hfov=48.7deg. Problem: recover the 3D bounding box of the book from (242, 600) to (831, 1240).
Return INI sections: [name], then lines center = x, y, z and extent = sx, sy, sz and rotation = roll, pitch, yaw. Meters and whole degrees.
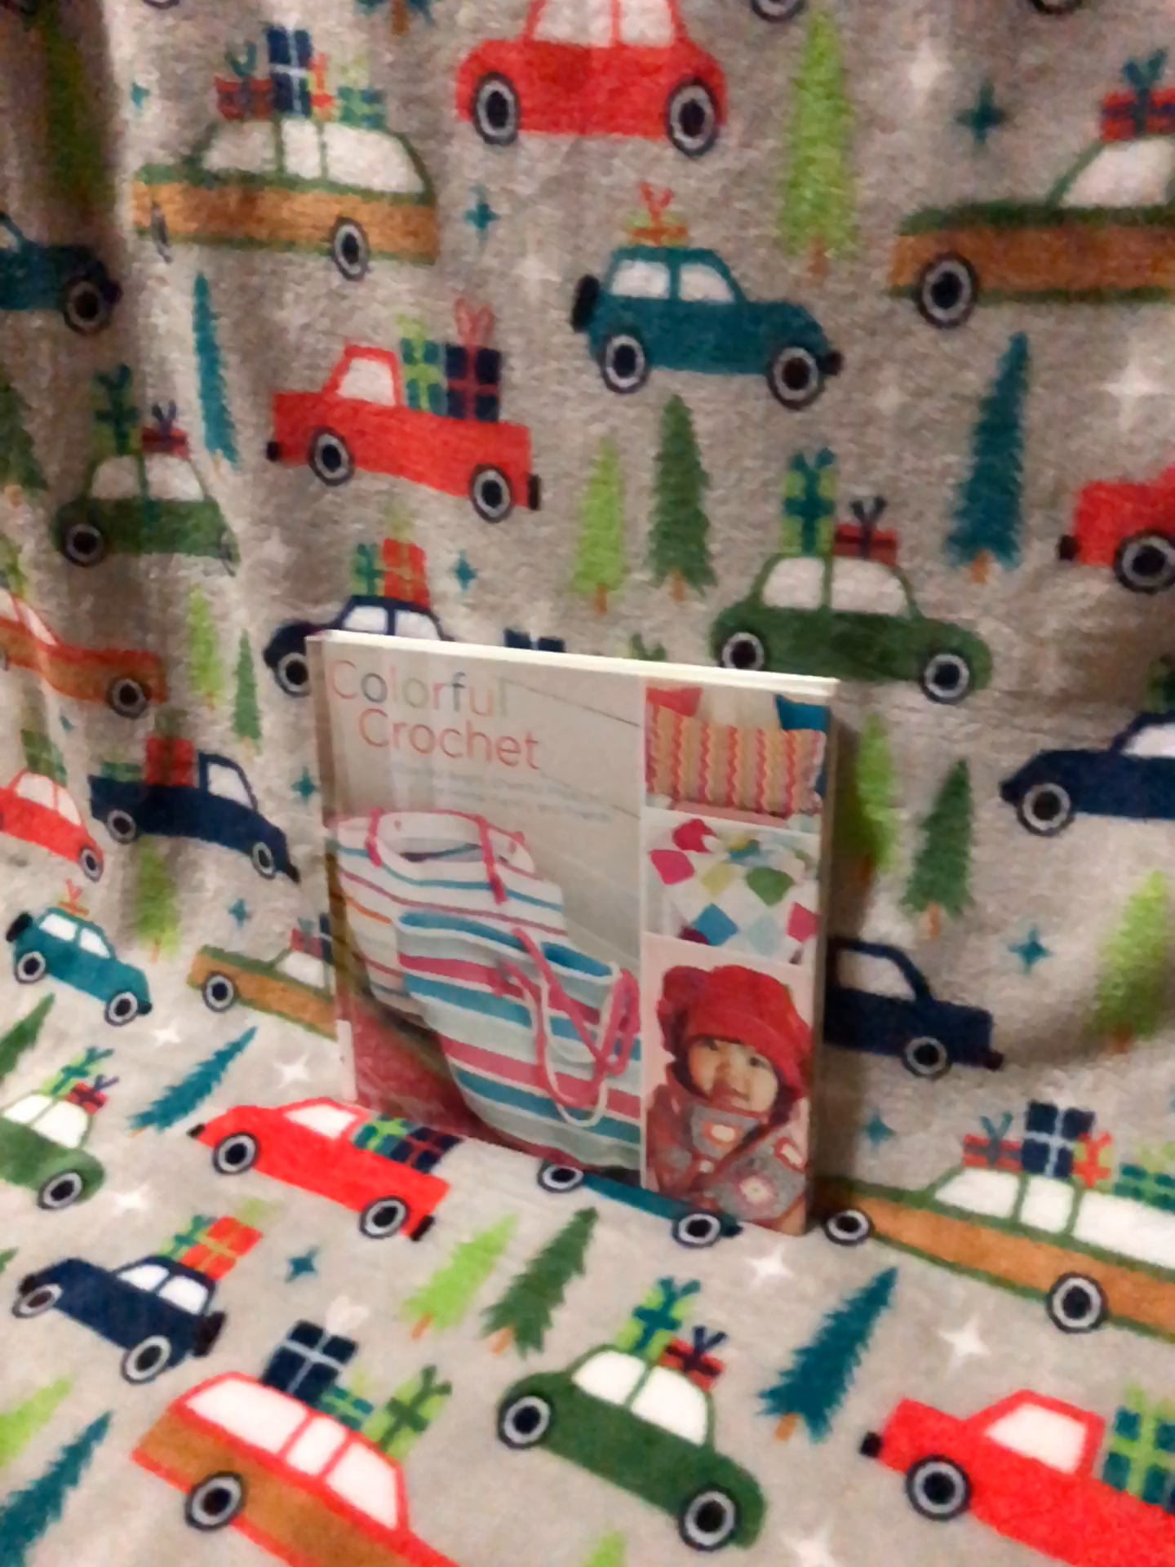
[book]
center = -0.017, 0.048, 0.463
extent = 0.203, 0.214, 0.020
rotation = 9, 29, 24
